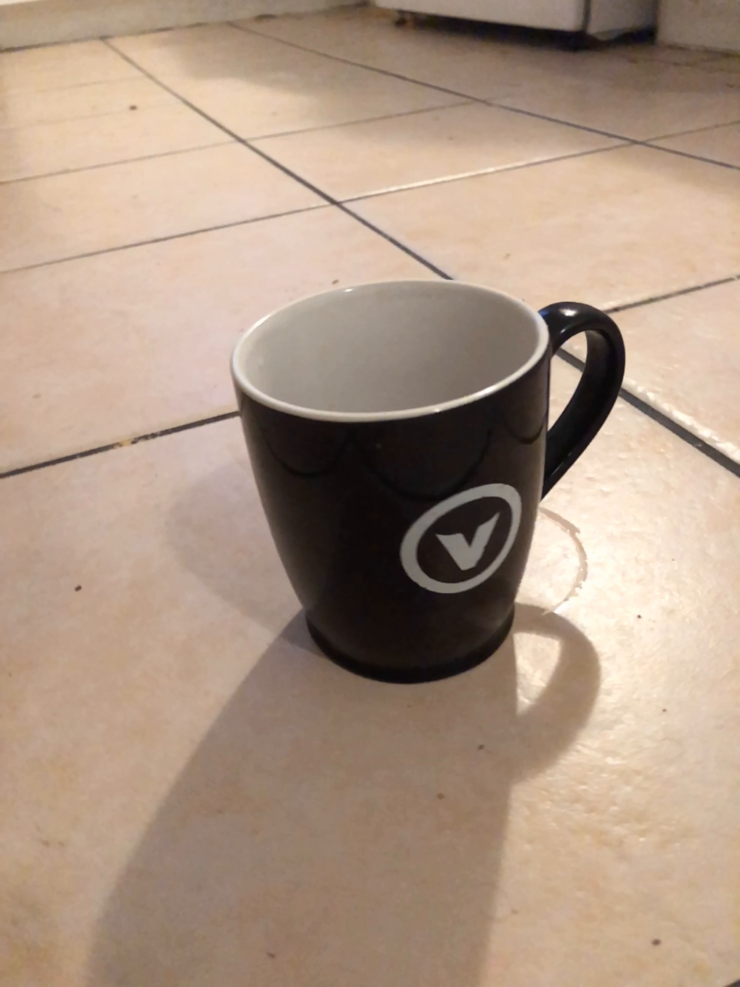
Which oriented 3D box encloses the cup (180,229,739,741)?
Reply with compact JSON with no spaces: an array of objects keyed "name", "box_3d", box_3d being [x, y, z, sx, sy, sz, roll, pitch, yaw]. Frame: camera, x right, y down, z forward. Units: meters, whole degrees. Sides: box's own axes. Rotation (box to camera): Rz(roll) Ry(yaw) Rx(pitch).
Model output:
[{"name":"cup","box_3d":[0.027,-0.013,0.280,0.140,0.100,0.101,-20,37,-20]}]
